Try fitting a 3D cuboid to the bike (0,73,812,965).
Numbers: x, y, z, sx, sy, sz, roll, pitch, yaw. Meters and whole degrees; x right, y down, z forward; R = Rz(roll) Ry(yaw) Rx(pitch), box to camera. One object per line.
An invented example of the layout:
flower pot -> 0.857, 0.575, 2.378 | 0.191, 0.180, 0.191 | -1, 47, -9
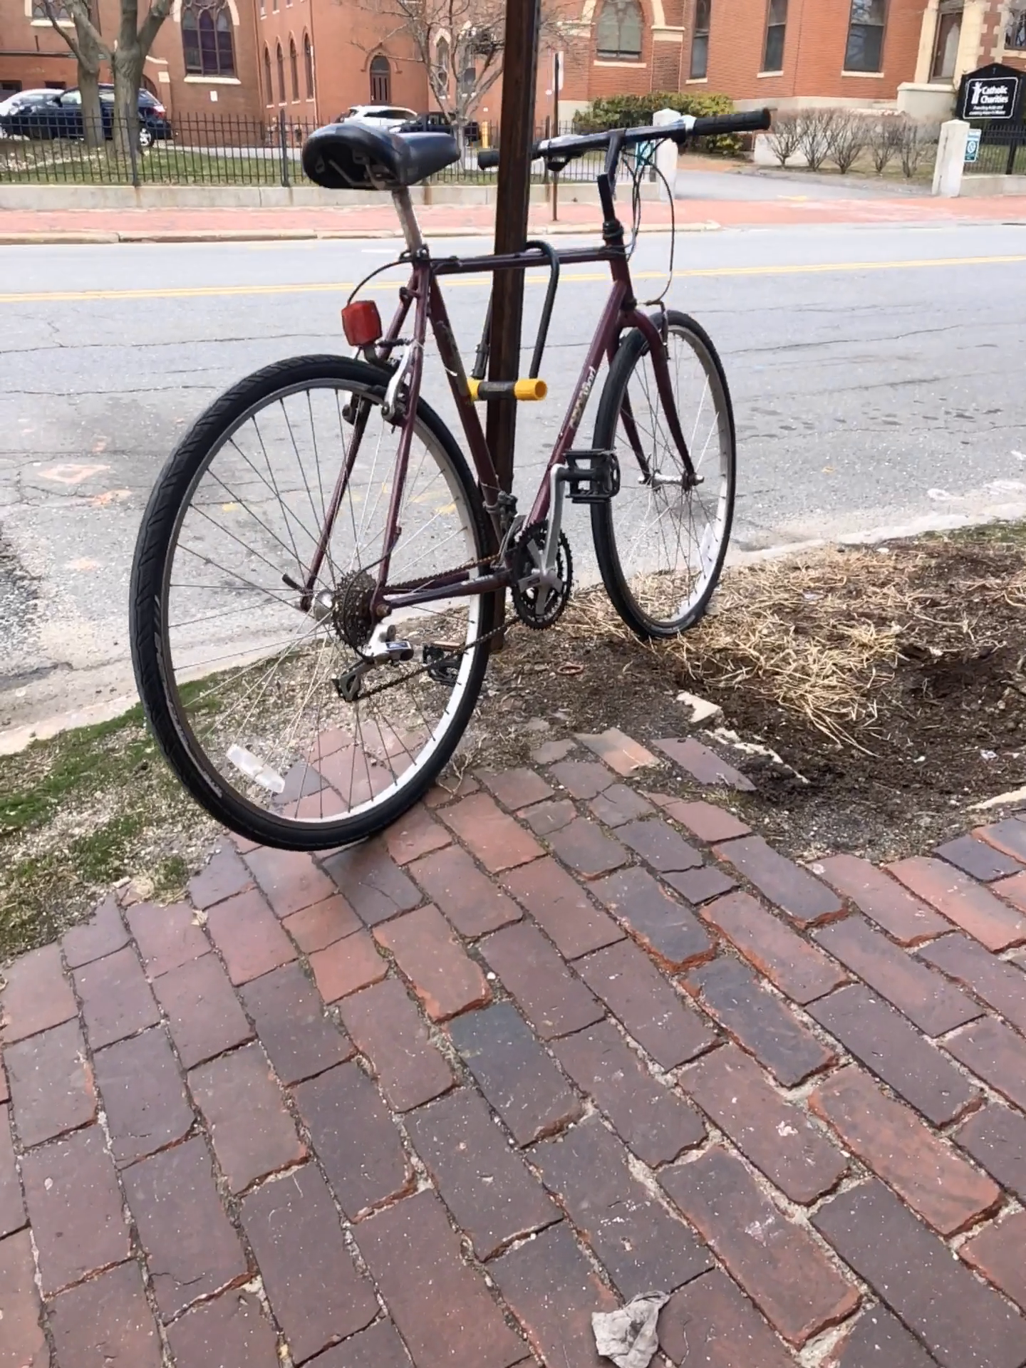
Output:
bike -> -0.077, -0.485, 1.965 | 0.555, 0.962, 1.691 | 15, 30, 30
